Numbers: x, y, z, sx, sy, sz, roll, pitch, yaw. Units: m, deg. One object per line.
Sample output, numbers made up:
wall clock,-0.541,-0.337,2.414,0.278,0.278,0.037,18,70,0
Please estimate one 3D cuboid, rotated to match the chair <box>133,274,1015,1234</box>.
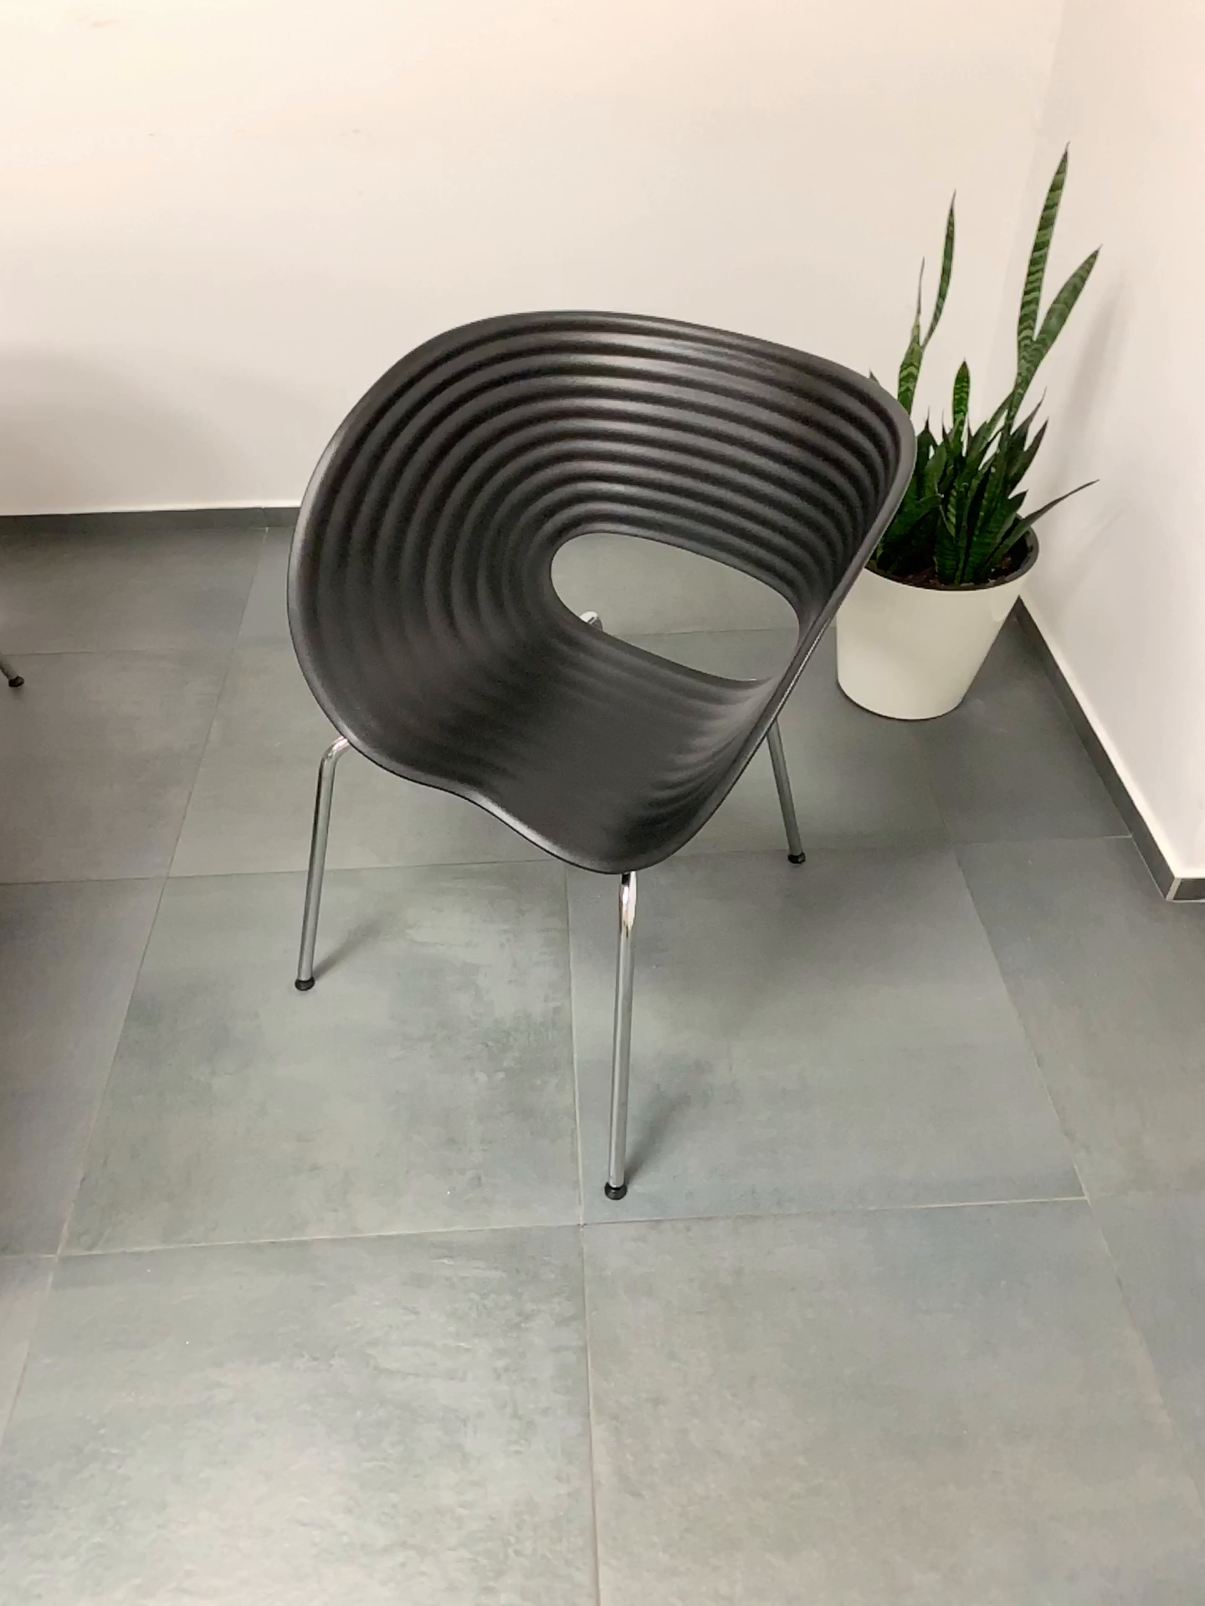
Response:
chair,-0.012,-0.088,1.525,0.651,0.796,0.642,26,48,26
